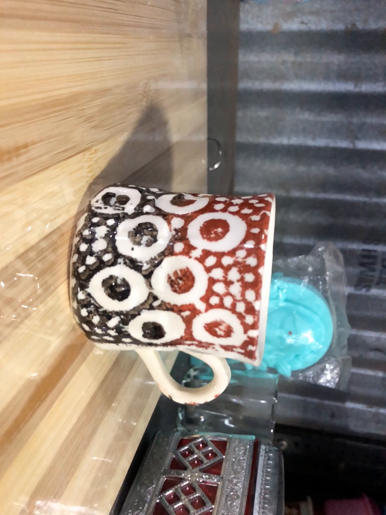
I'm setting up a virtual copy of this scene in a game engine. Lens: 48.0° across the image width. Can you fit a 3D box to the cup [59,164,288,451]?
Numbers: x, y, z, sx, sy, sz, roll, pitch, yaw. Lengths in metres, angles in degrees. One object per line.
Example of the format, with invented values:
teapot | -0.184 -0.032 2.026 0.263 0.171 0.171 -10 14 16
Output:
cup | -0.002 0.015 0.174 0.060 0.070 0.090 -60 153 -66
